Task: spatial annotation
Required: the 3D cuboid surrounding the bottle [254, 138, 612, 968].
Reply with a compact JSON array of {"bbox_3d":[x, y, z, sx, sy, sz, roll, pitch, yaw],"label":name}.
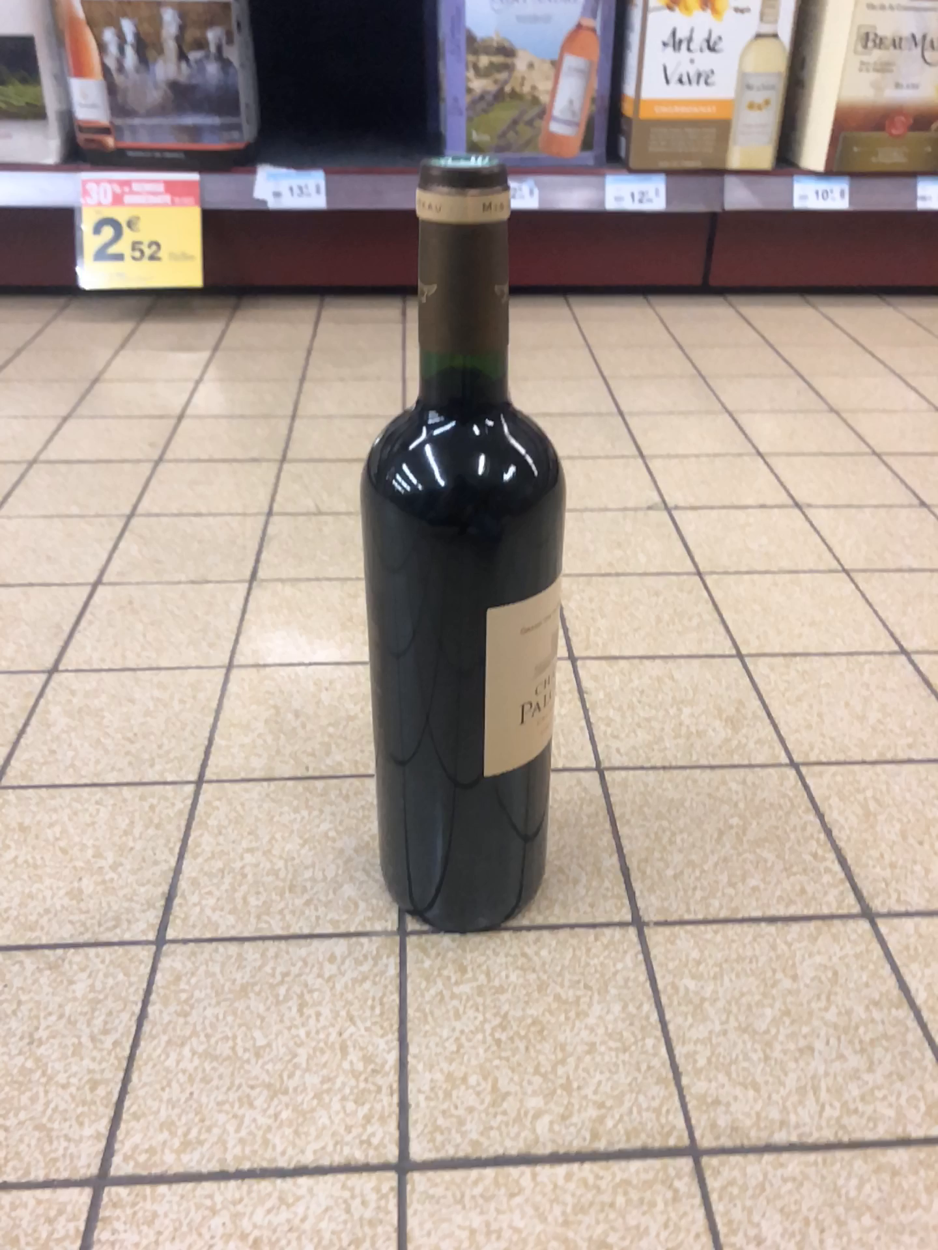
[{"bbox_3d":[-0.008,-0.012,0.376,0.090,0.288,0.081,6,32,8],"label":"bottle"}]
